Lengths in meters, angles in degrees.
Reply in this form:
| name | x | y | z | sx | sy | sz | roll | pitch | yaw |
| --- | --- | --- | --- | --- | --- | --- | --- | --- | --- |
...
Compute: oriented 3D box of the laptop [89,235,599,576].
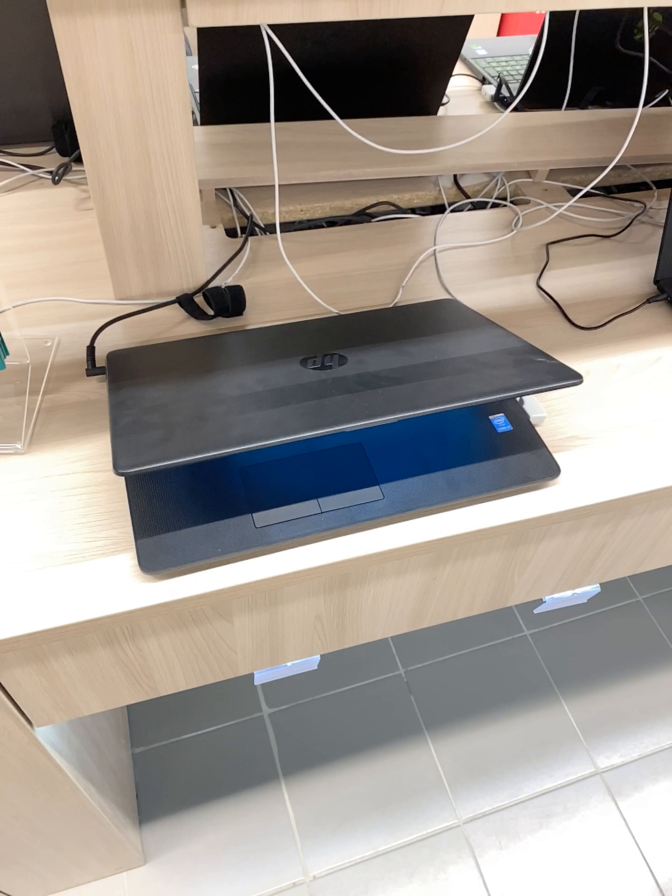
| name | x | y | z | sx | sy | sz | roll | pitch | yaw |
| --- | --- | --- | --- | --- | --- | --- | --- | --- | --- |
| laptop | -0.007 | -0.060 | 0.615 | 0.373 | 0.093 | 0.252 | -11 | 52 | -14 |
